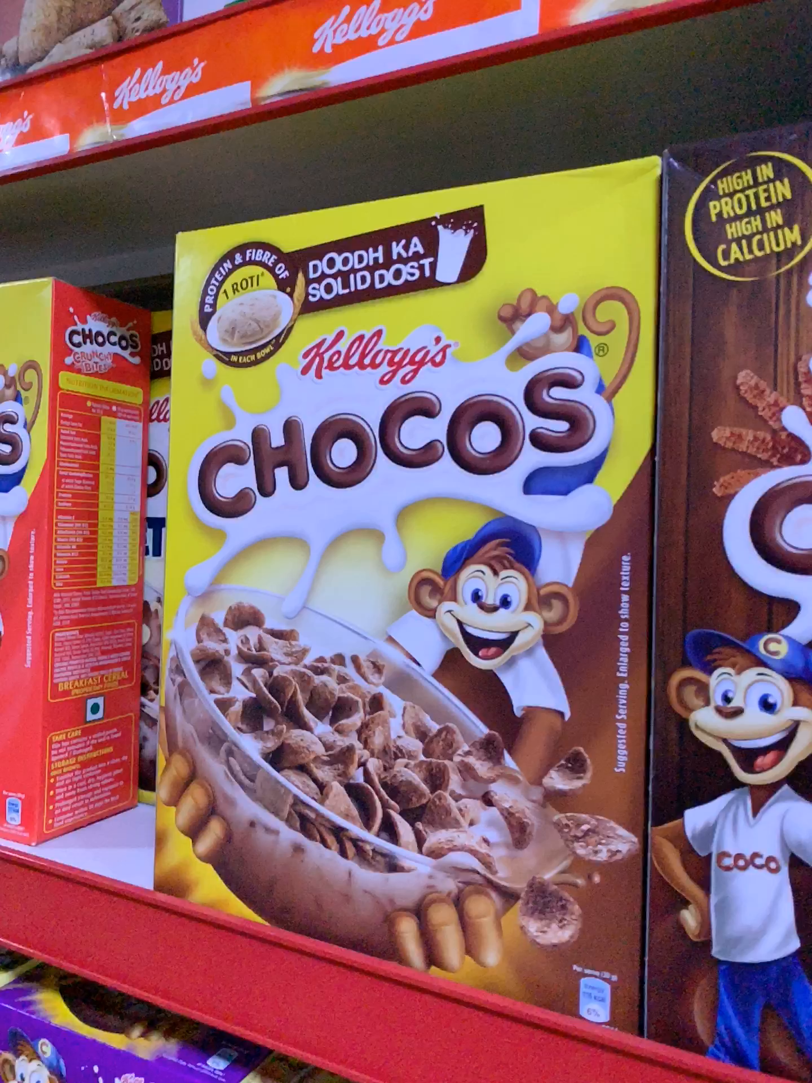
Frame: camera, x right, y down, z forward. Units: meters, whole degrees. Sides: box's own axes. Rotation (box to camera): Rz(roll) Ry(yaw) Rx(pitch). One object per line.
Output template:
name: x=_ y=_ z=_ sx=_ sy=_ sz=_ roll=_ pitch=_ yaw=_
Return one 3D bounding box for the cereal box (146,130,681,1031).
cereal box: x=-0.001 y=0.007 z=0.289 sx=0.170 sy=0.240 sz=0.060 roll=2 pitch=0 yaw=28
